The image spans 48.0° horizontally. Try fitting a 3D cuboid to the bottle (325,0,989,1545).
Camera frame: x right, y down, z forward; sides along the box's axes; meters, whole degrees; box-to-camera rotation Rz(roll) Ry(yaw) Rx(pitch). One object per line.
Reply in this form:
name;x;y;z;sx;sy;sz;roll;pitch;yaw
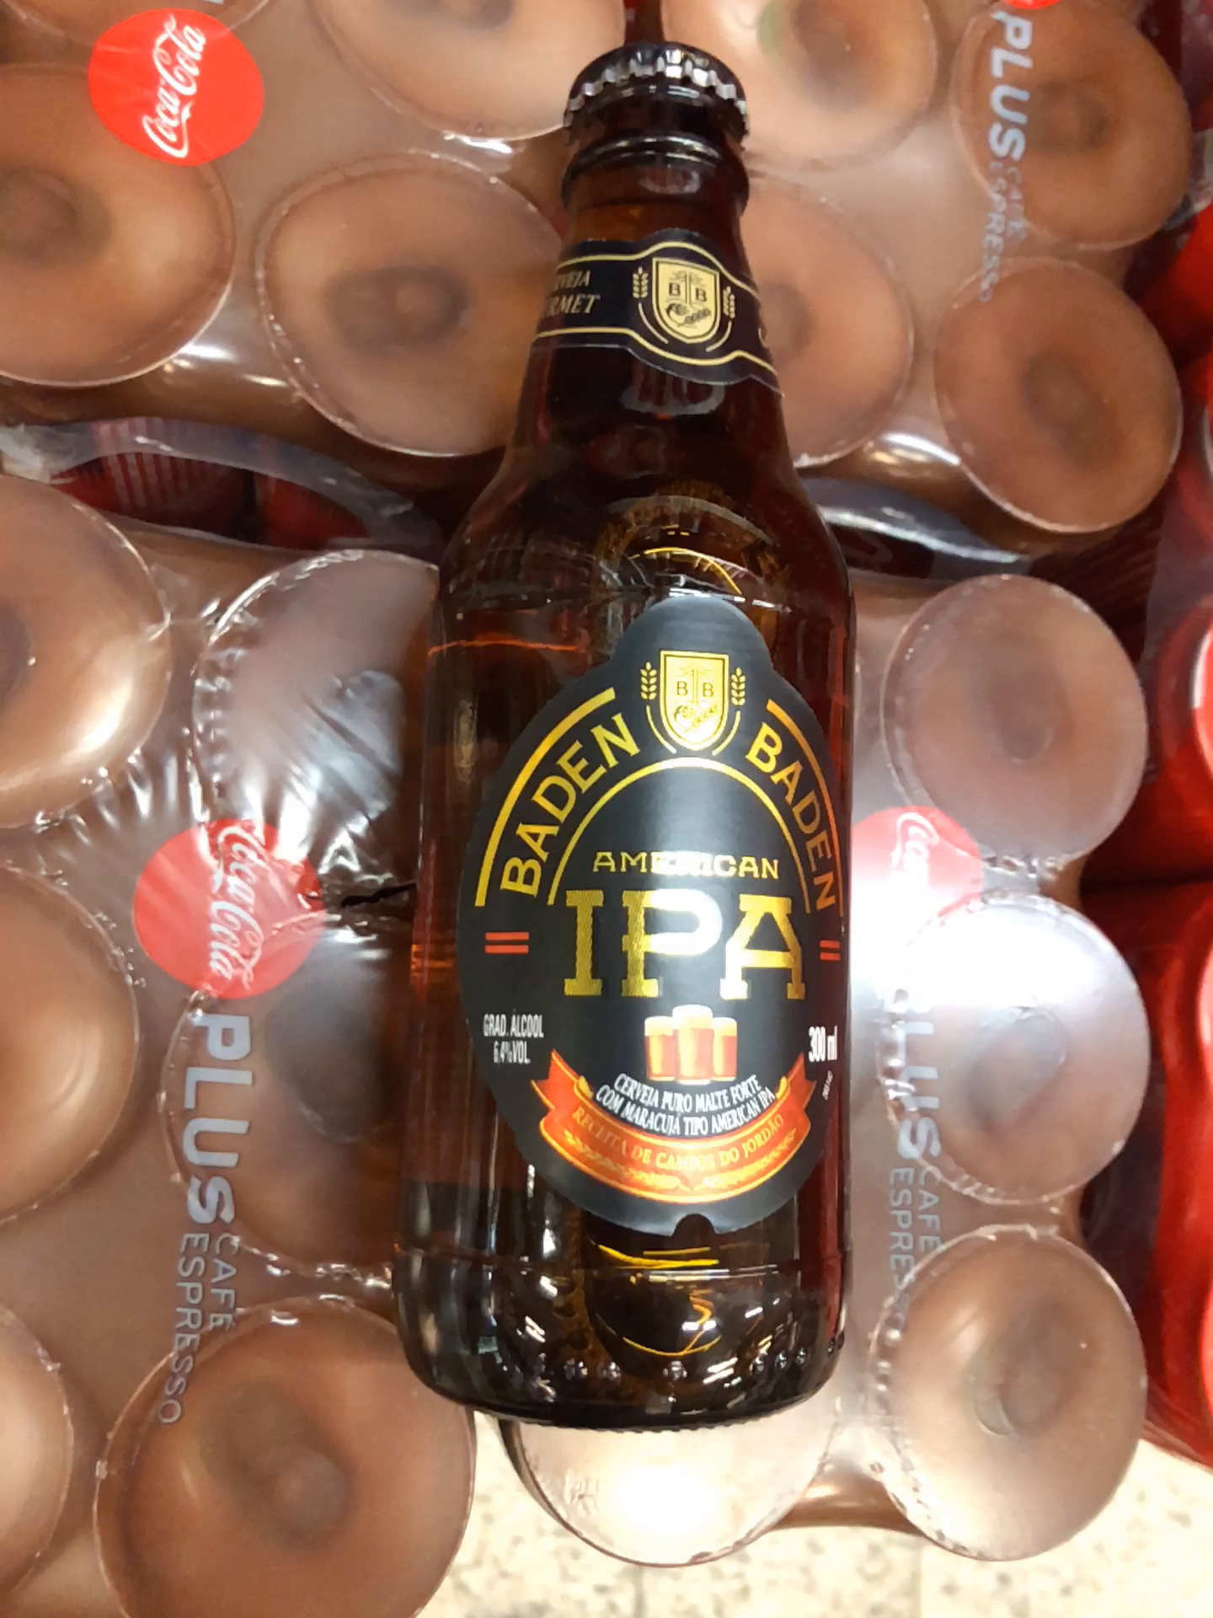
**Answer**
bottle;0.005;-0.026;0.182;0.070;0.050;0.210;4;81;-14
